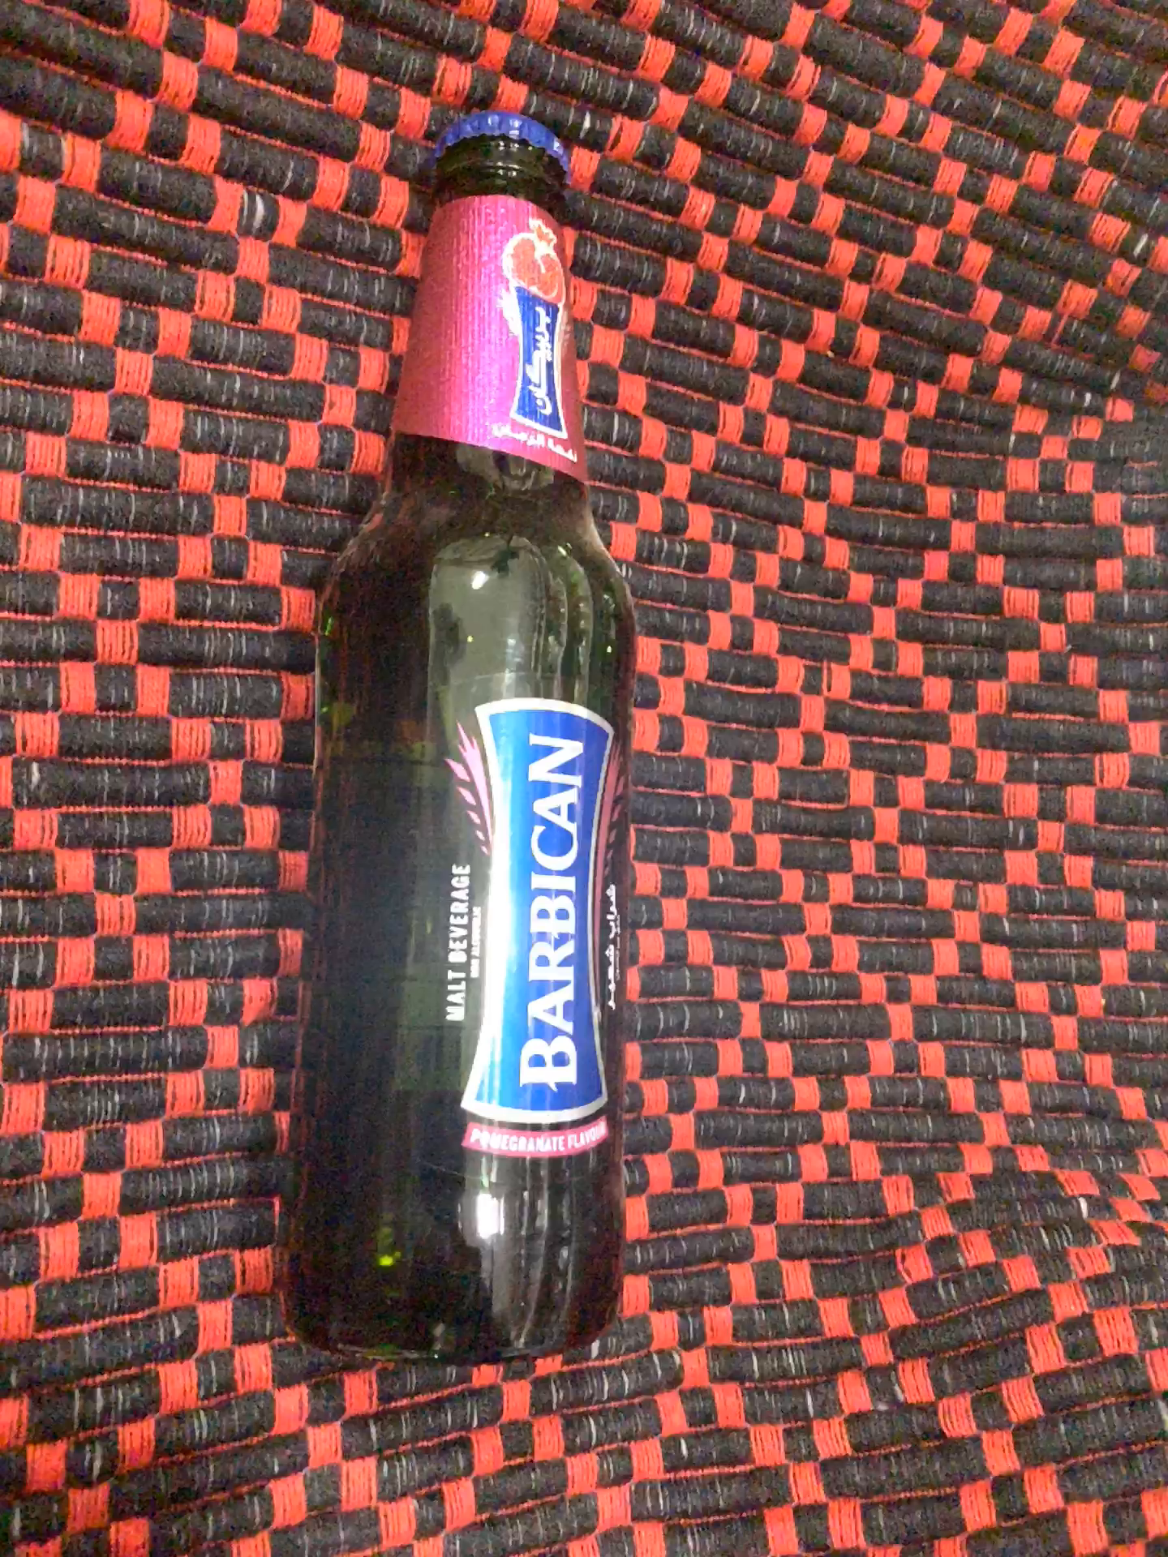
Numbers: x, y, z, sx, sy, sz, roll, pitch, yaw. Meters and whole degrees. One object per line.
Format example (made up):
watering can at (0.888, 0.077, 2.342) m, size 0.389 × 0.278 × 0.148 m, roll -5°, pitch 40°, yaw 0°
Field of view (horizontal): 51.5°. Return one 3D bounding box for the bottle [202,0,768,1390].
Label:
bottle at (-0.026, -0.025, 0.236) m, size 0.070 × 0.080 × 0.240 m, roll 5°, pitch 74°, yaw -28°
